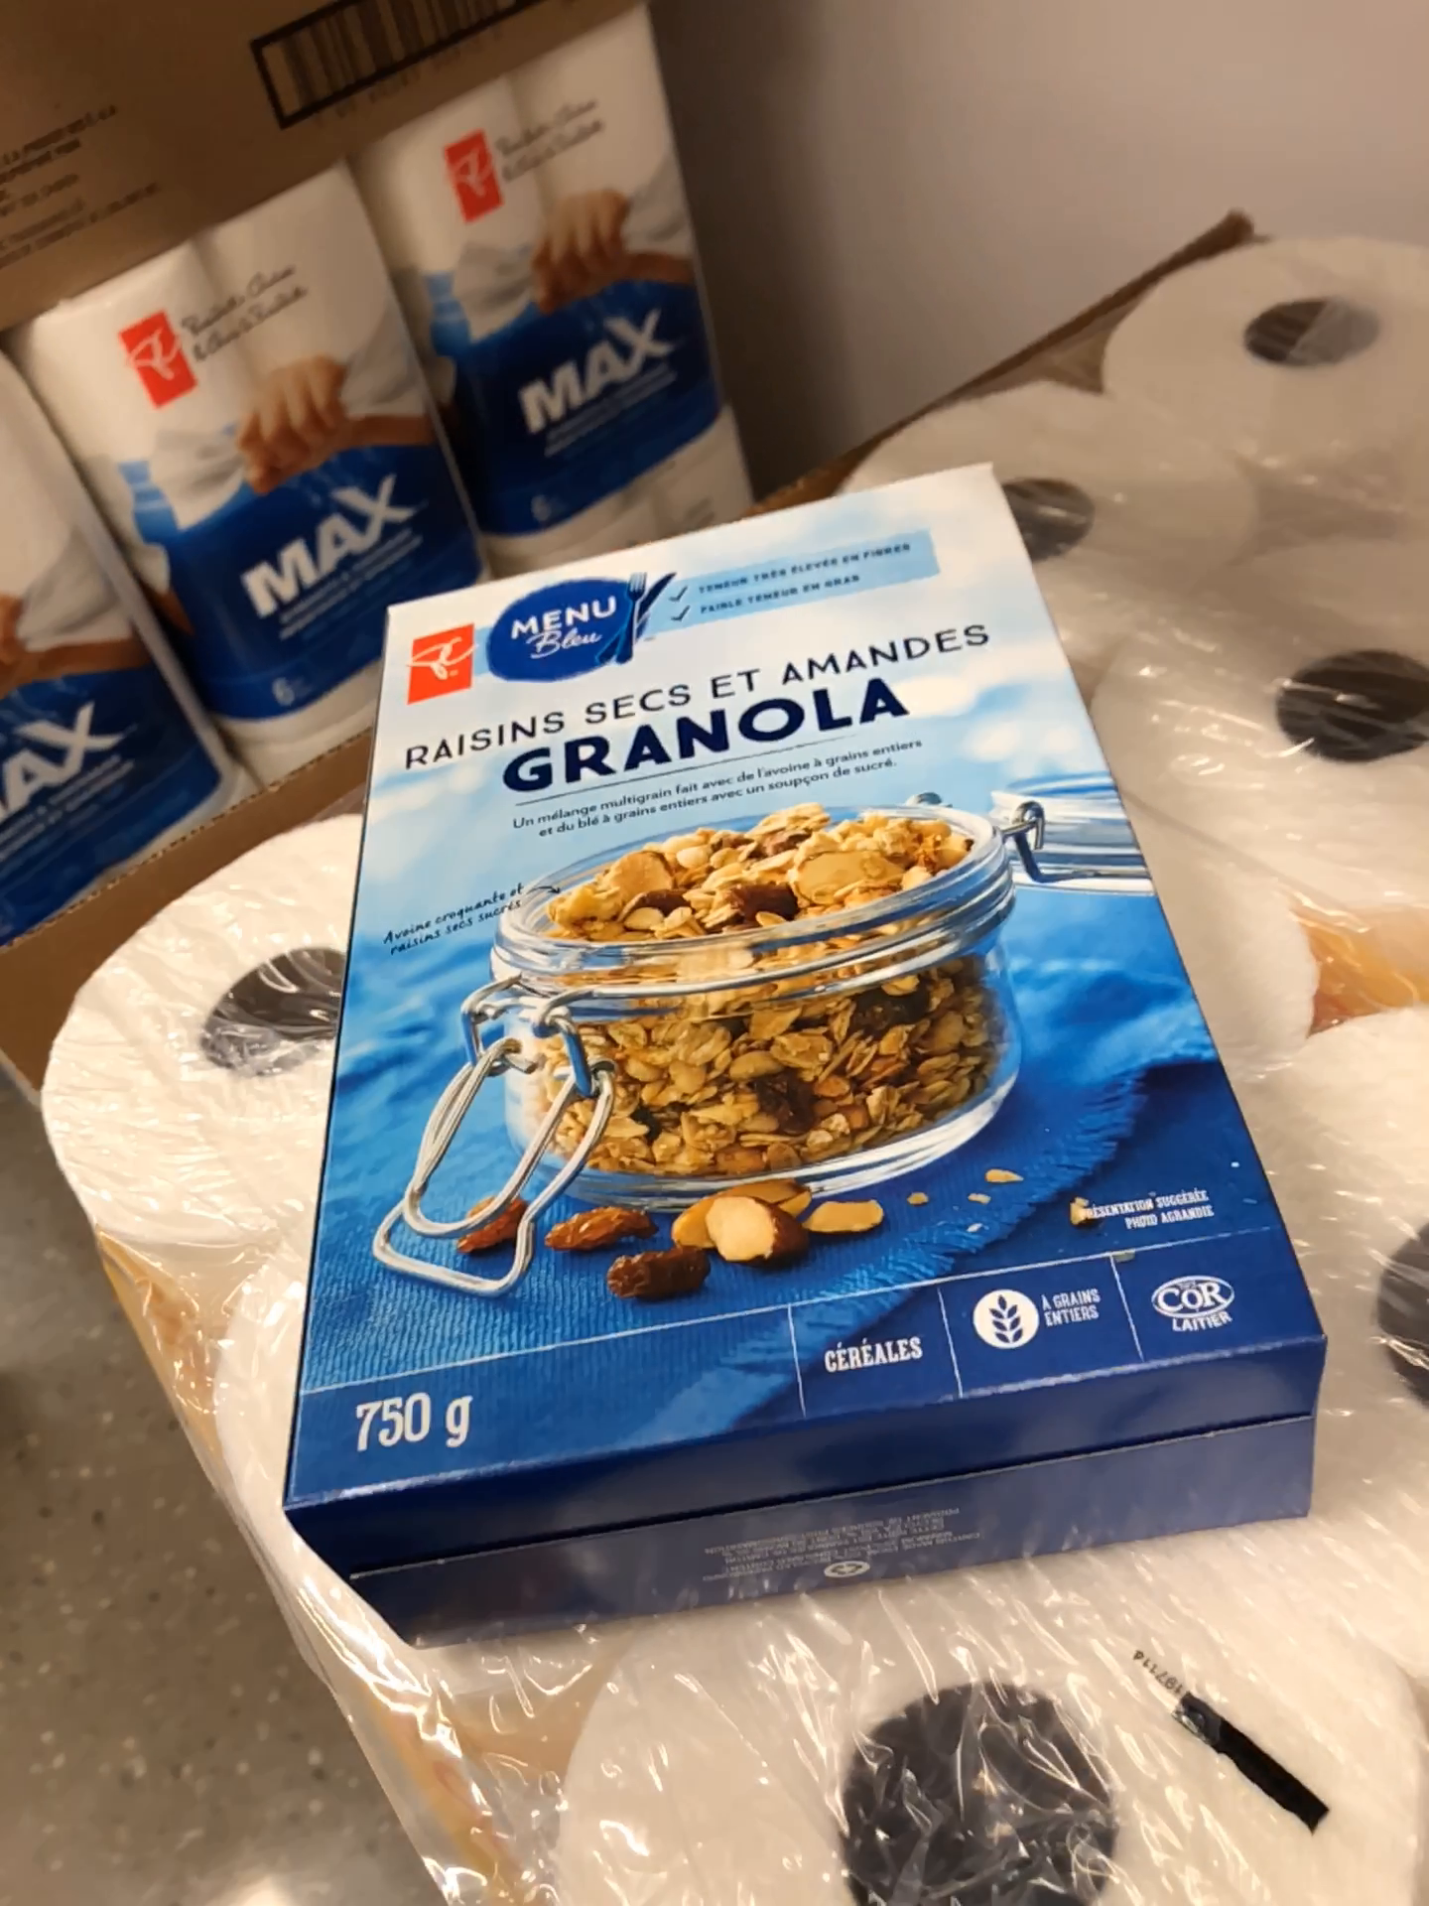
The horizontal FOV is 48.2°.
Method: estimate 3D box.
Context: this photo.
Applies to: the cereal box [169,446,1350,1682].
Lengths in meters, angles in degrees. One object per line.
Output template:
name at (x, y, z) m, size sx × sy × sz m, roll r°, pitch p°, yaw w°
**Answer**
cereal box at (0.001, 0.001, 0.334) m, size 0.170 × 0.060 × 0.251 m, roll -11°, pitch 45°, yaw 6°
